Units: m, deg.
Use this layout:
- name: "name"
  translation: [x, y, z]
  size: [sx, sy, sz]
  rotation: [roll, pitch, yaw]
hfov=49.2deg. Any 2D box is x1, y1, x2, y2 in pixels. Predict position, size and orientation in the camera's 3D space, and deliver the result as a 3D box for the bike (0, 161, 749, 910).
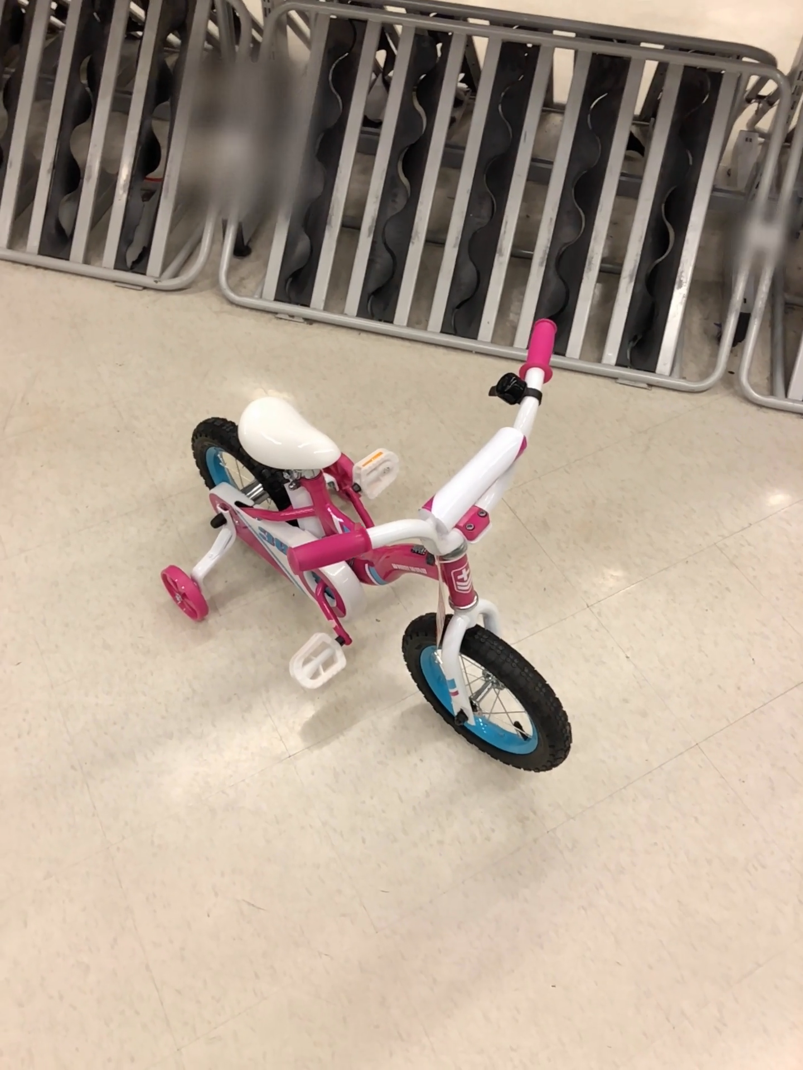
- name: "bike"
  translation: [-0.089, -0.019, 1.257]
  size: [0.816, 0.625, 0.462]
  rotation: [37, 60, 26]
